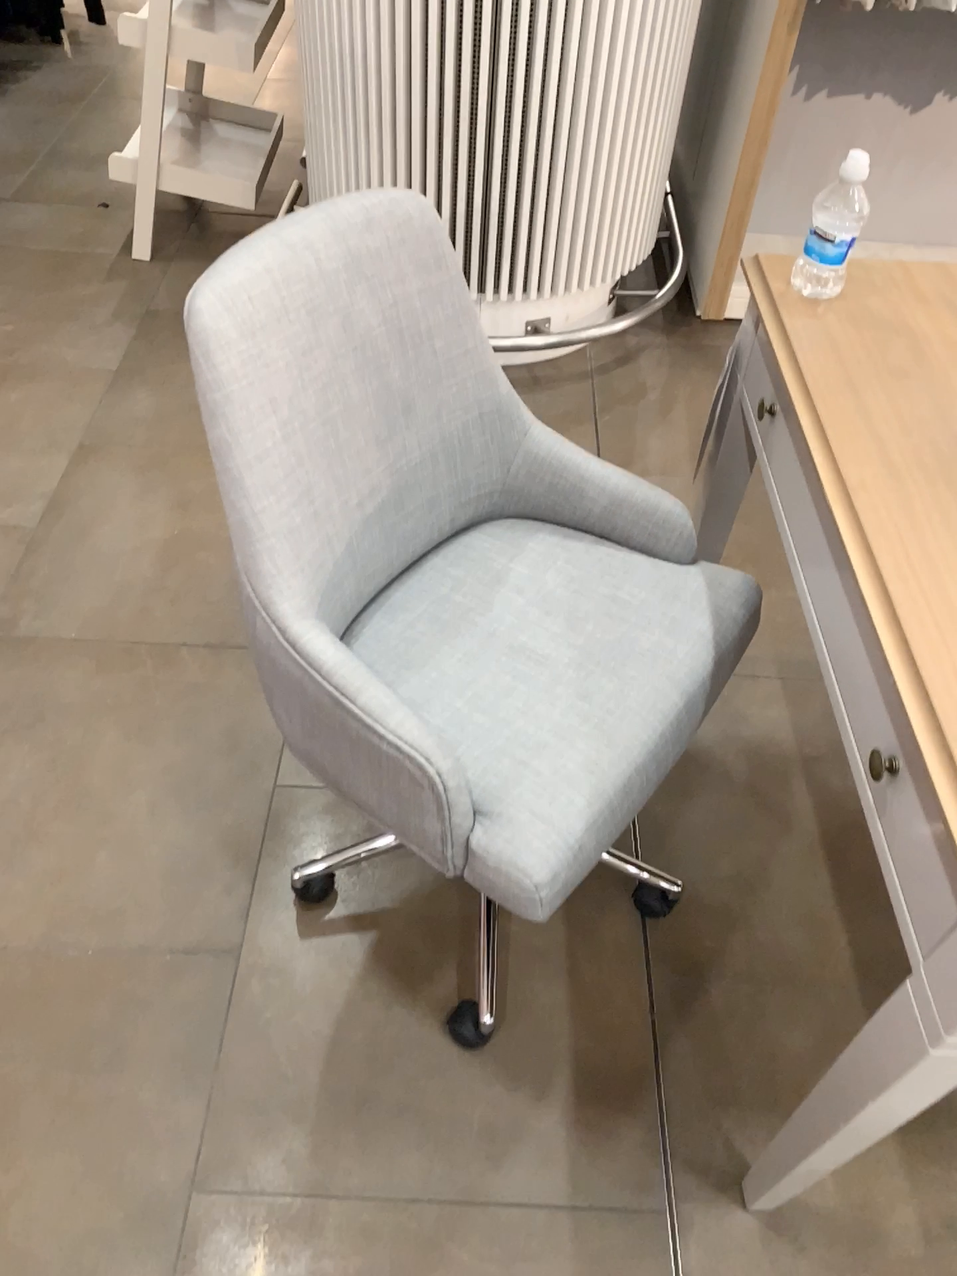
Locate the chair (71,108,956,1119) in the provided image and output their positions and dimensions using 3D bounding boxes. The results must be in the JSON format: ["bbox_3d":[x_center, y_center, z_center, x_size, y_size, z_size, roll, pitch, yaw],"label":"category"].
[{"bbox_3d":[0.067,-0.020,1.213,0.637,0.891,0.628,31,52,23],"label":"chair"}]
